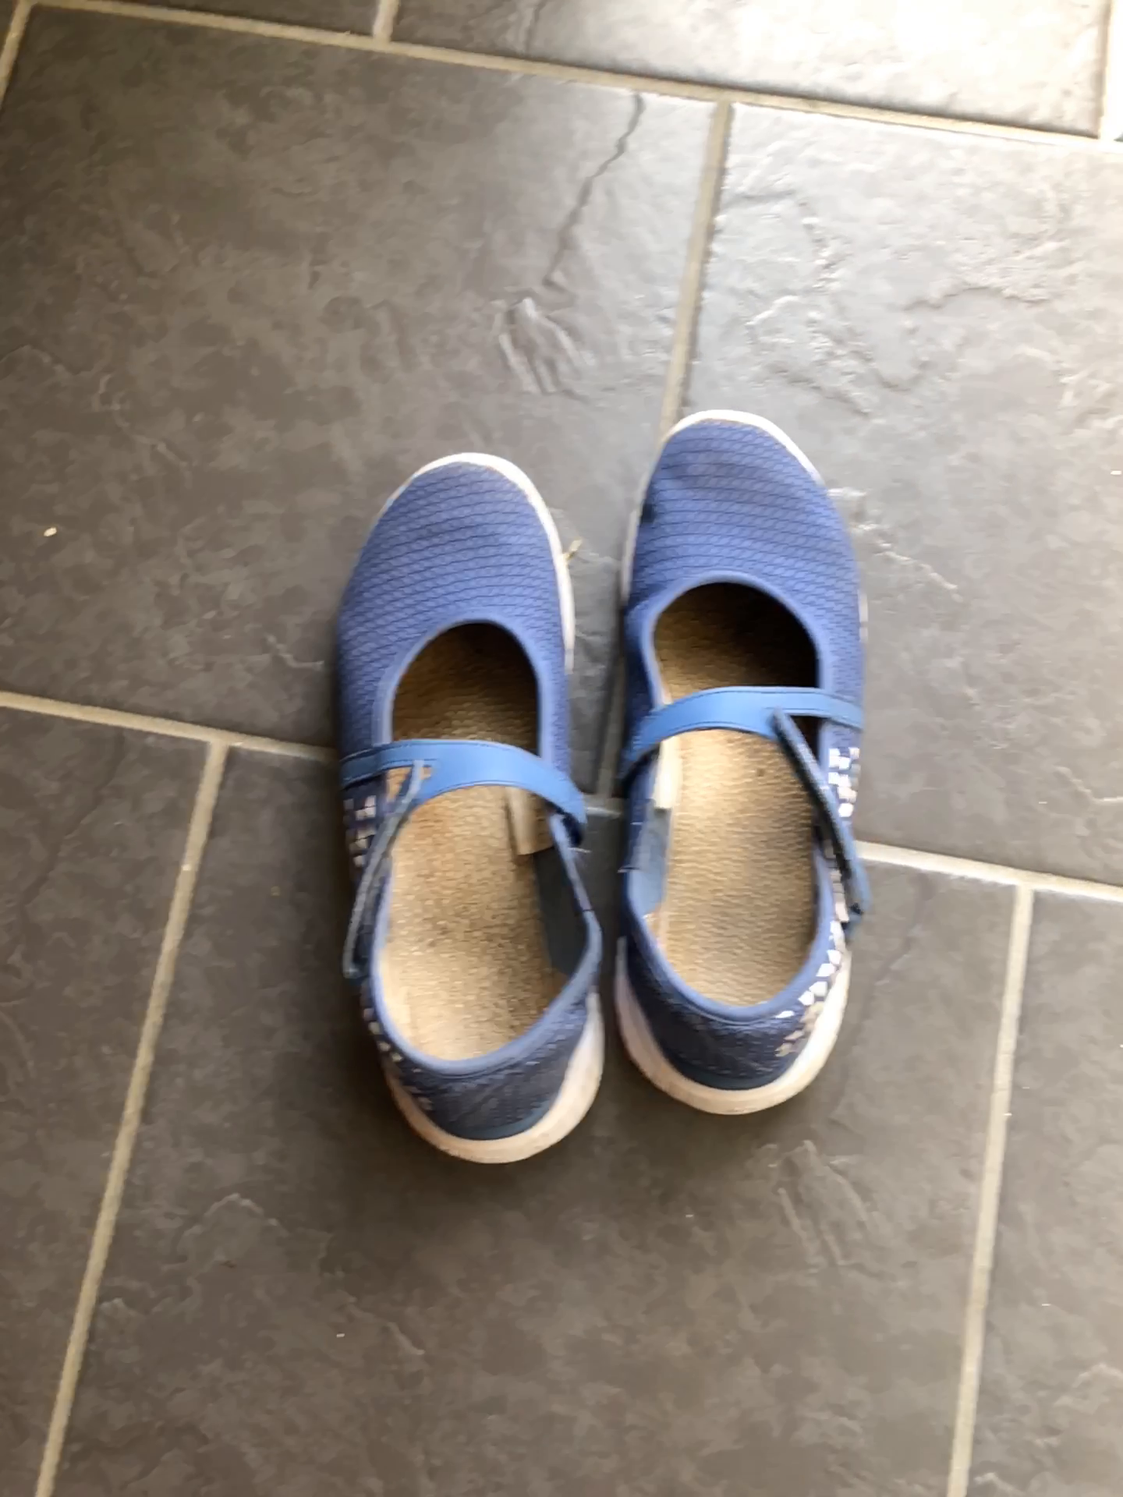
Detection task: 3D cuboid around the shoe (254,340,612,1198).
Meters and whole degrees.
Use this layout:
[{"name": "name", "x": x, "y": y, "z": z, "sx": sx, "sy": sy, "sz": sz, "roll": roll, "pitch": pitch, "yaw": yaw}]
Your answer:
[{"name": "shoe", "x": -0.046, "y": 0.009, "z": 0.482, "sx": 0.110, "sy": 0.120, "sz": 0.290, "roll": -4, "pitch": 79, "yaw": 2}]

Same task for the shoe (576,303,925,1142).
[{"name": "shoe", "x": 0.063, "y": -0.007, "z": 0.481, "sx": 0.110, "sy": 0.120, "sz": 0.290, "roll": 0, "pitch": 79, "yaw": 2}]
